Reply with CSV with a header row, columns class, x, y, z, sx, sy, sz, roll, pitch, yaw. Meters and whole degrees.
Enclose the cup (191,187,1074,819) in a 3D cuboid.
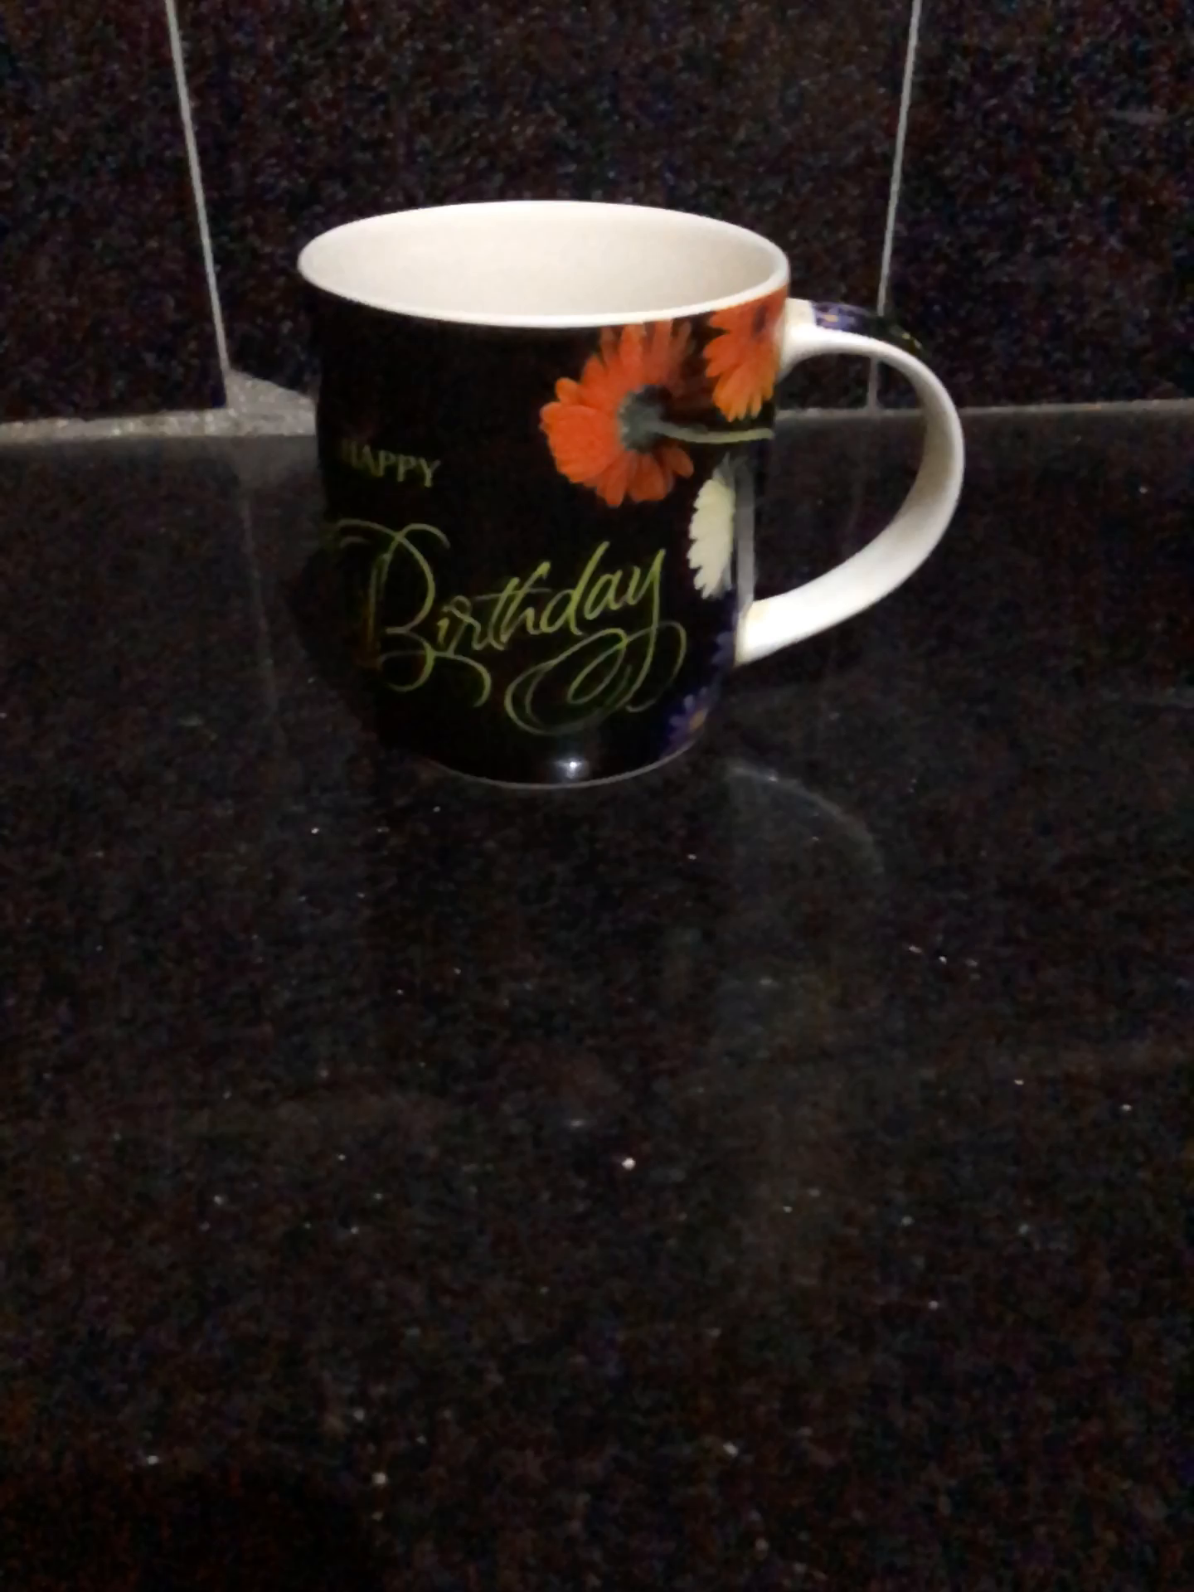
class,x,y,z,sx,sy,sz,roll,pitch,yaw
cup,0.003,-0.060,0.257,0.130,0.089,0.091,-1,35,-3
